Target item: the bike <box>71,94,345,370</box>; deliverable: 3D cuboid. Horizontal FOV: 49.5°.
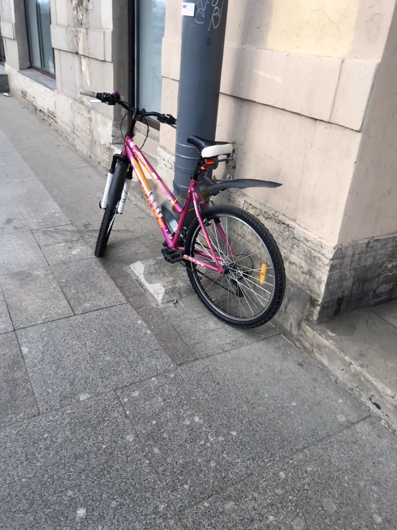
[{"bbox_3d":[-0.101,-0.360,2.426,0.623,0.974,1.580,-16,32,-35],"label":"bike"}]
